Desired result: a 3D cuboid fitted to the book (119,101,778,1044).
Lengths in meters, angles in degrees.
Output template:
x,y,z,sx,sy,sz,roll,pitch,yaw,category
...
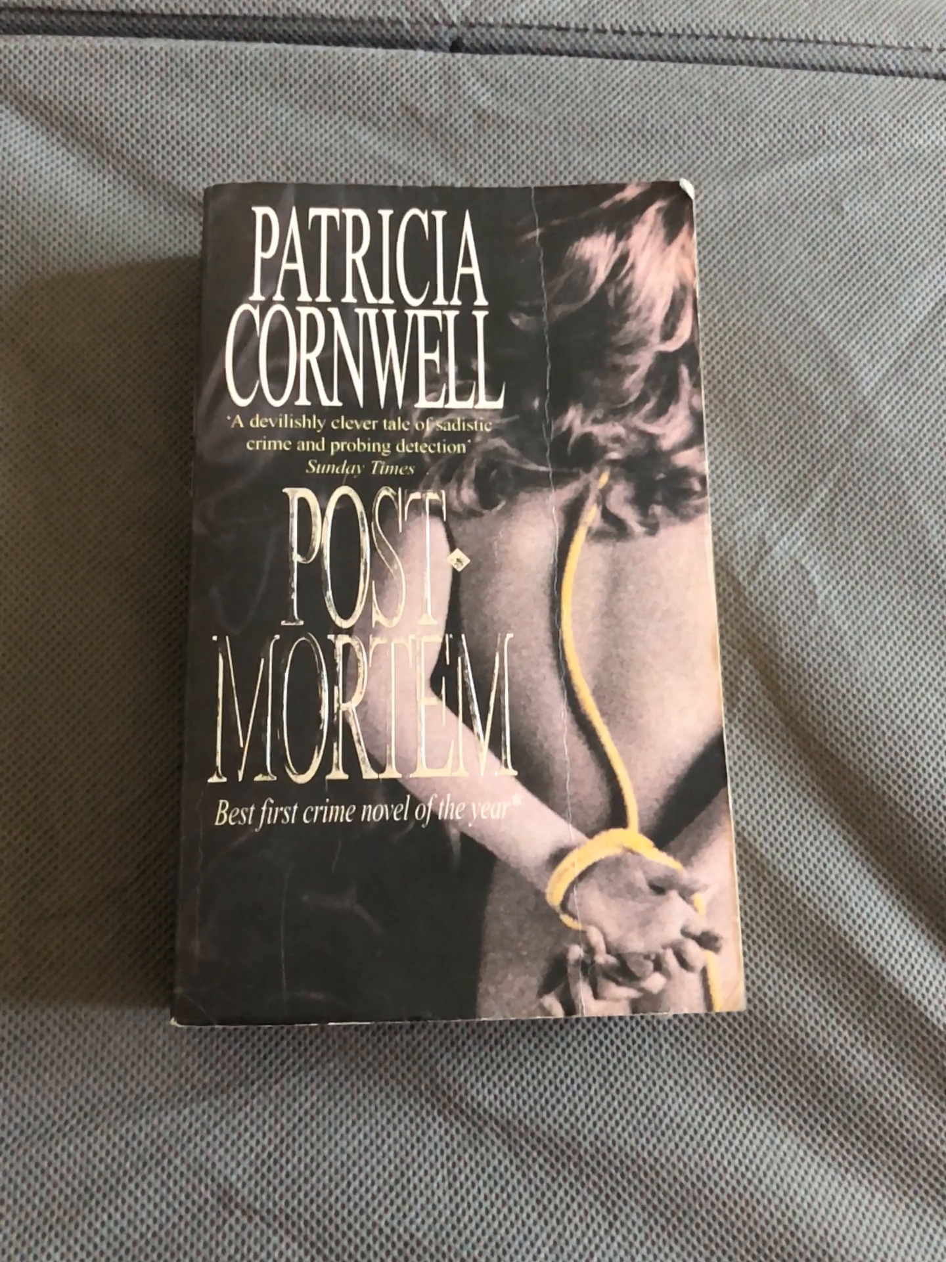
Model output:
x,y,z,sx,sy,sz,roll,pitch,yaw,category
-0.007,-0.015,0.222,0.110,0.050,0.180,0,76,-5,book
